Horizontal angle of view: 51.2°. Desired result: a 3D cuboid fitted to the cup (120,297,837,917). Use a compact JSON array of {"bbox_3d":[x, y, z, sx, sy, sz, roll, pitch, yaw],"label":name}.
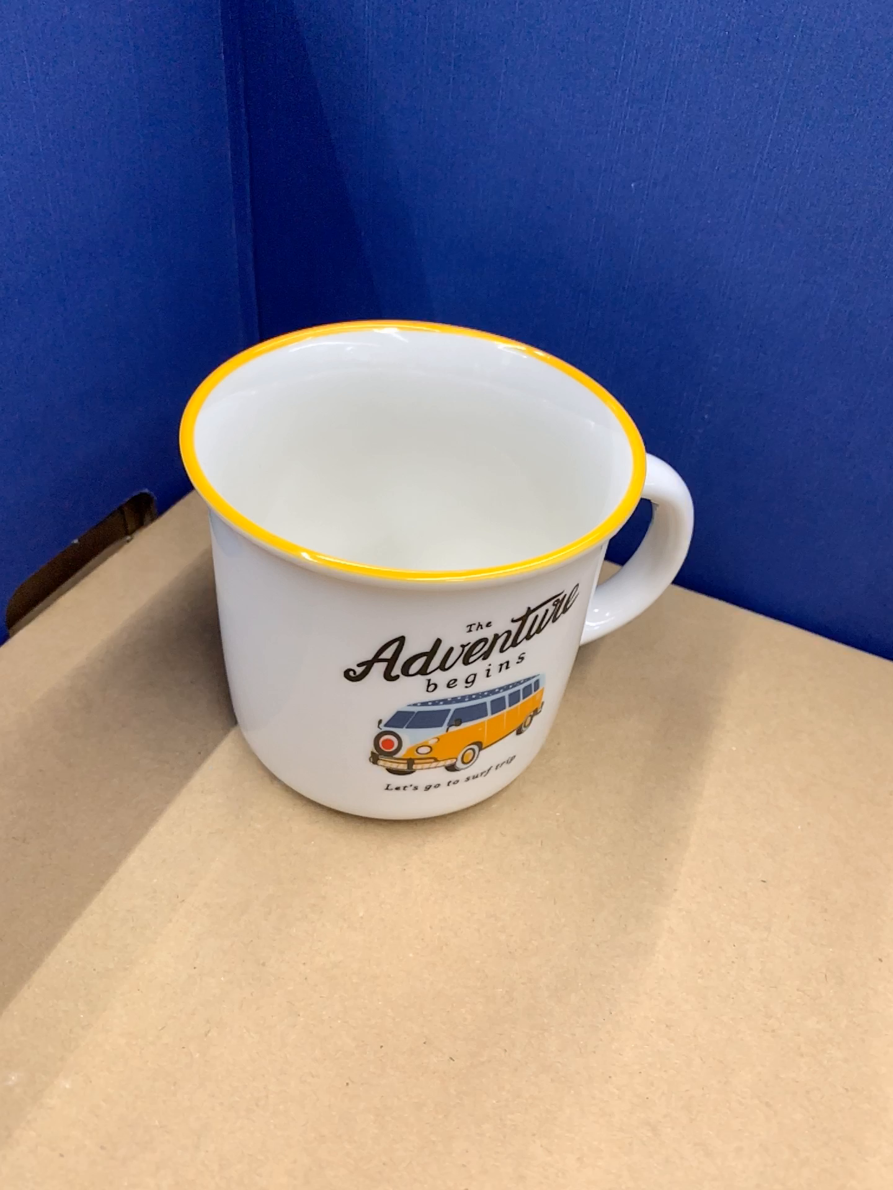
[{"bbox_3d":[-0.003,-0.007,0.224,0.124,0.083,0.102,-10,43,-19],"label":"cup"}]
